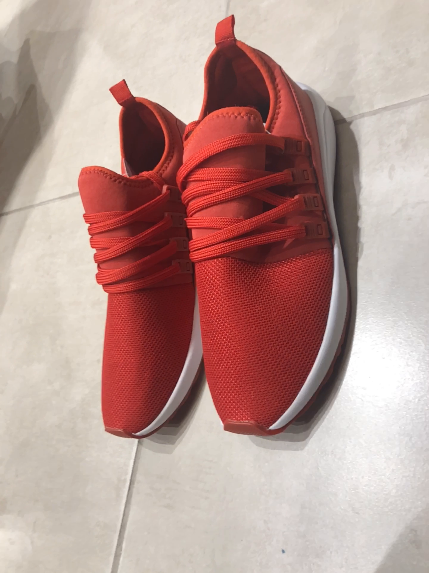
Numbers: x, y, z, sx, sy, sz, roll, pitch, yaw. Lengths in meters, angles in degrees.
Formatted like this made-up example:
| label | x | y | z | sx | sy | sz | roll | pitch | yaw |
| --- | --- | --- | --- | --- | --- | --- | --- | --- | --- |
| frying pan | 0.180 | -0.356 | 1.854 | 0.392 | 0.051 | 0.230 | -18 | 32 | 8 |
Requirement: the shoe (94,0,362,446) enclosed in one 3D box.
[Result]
| label | x | y | z | sx | sy | sz | roll | pitch | yaw |
| --- | --- | --- | --- | --- | --- | --- | --- | --- | --- |
| shoe | 0.029 | -0.041 | 0.332 | 0.100 | 0.139 | 0.270 | -9 | 65 | 36 |

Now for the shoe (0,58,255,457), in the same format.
| label | x | y | z | sx | sy | sz | roll | pitch | yaw |
| --- | --- | --- | --- | --- | --- | --- | --- | --- | --- |
| shoe | -0.064 | -0.015 | 0.392 | 0.100 | 0.139 | 0.270 | -4 | 68 | 37 |
